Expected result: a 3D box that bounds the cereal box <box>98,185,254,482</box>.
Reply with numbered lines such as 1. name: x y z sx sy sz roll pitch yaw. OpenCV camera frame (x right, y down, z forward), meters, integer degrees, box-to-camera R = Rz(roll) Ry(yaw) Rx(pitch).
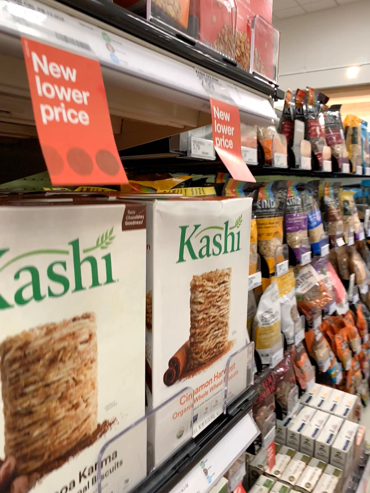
1. cereal box: 0.001 0.071 0.440 0.070 0.279 0.190 6 10 36
